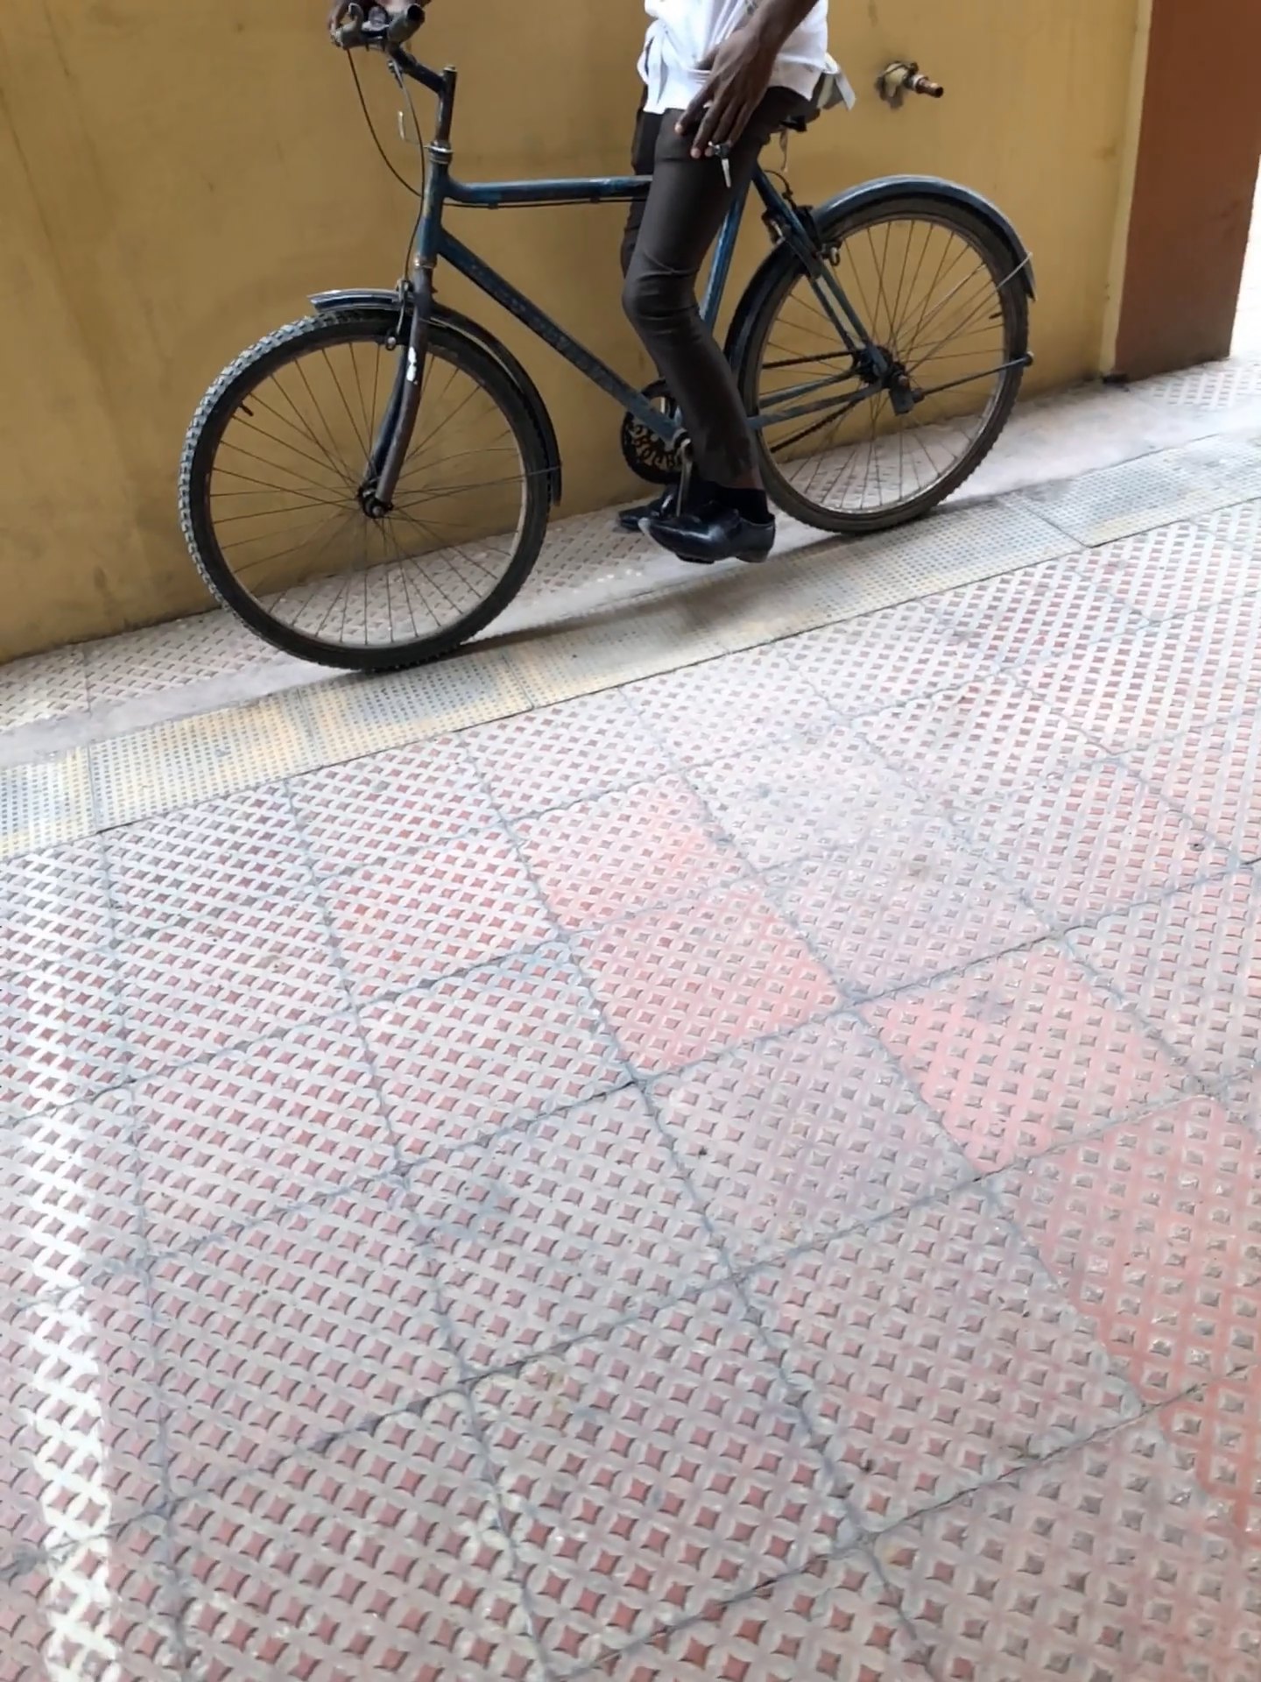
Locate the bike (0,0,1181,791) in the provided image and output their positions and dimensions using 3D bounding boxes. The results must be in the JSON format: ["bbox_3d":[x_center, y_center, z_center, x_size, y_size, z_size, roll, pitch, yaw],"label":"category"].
[{"bbox_3d":[0.011,-0.847,2.216,1.575,1.024,0.591,-15,38,-13],"label":"bike"}]
